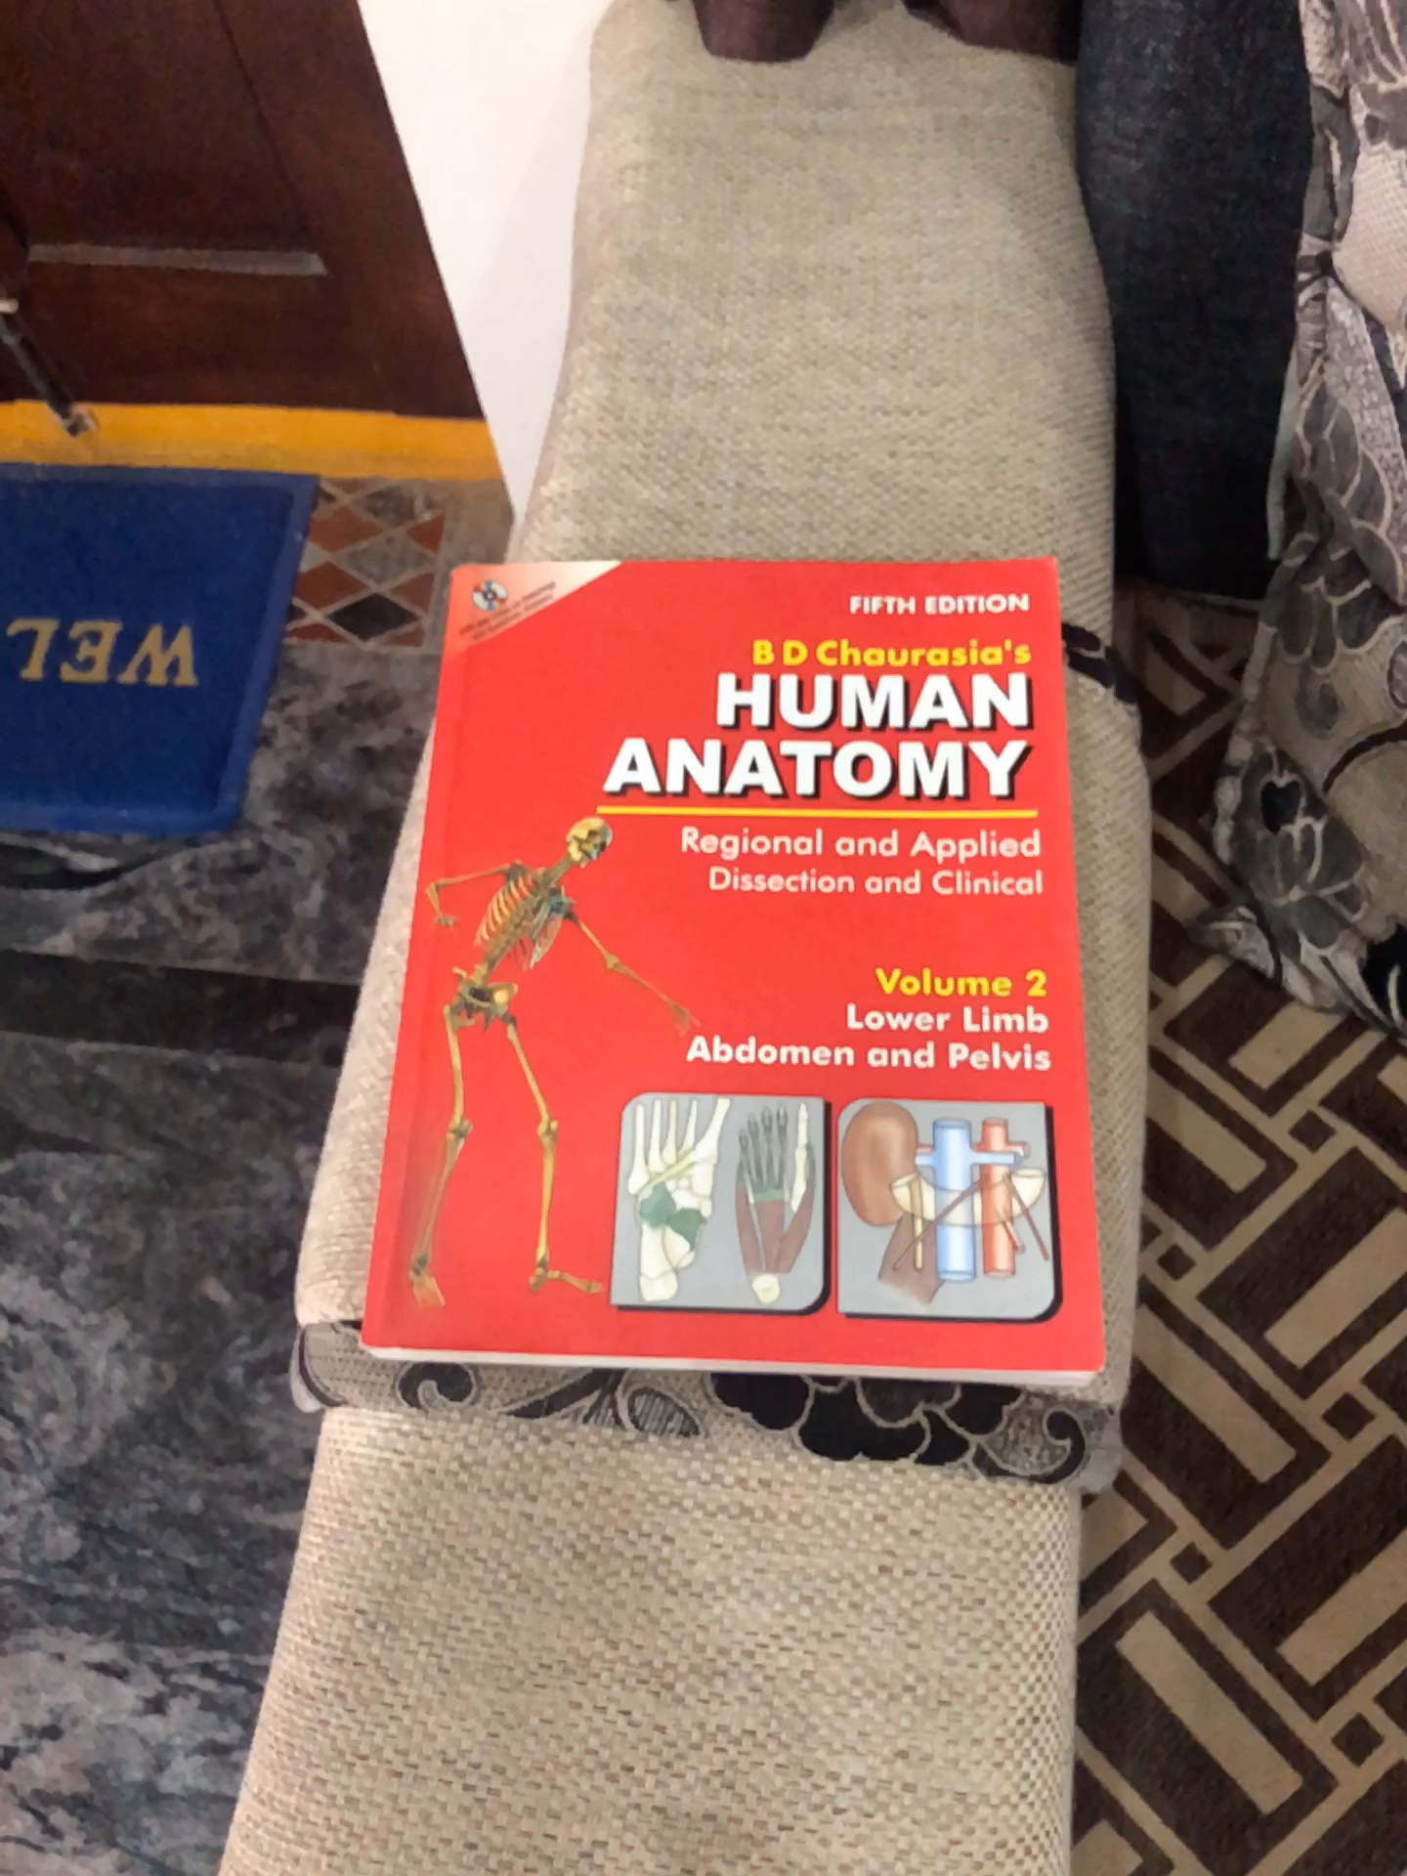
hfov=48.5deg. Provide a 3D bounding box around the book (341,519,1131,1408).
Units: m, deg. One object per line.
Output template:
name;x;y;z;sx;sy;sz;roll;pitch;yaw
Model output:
book;0.015;-0.004;0.509;0.220;0.040;0.290;1;67;5
